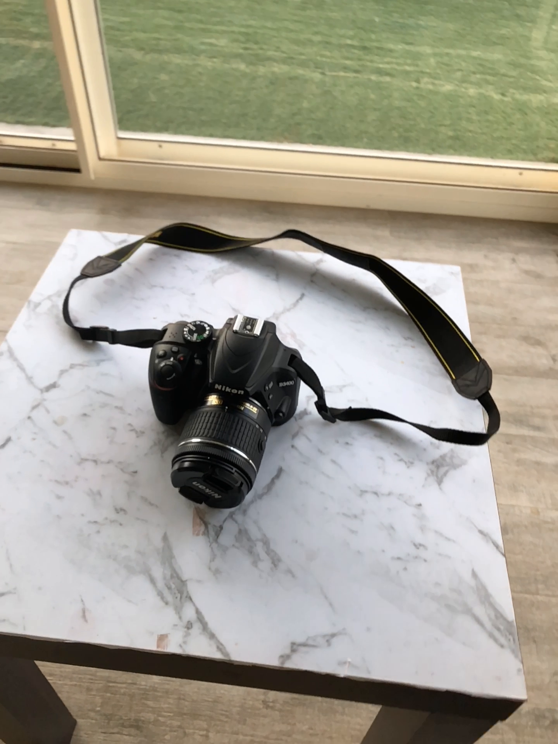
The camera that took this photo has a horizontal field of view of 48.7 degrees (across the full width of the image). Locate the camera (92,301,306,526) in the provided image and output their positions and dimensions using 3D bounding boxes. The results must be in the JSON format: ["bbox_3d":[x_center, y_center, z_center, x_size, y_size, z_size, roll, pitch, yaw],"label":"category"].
[{"bbox_3d":[-0.053,0.028,0.477,0.121,0.076,0.138,9,50,6],"label":"camera"}]
